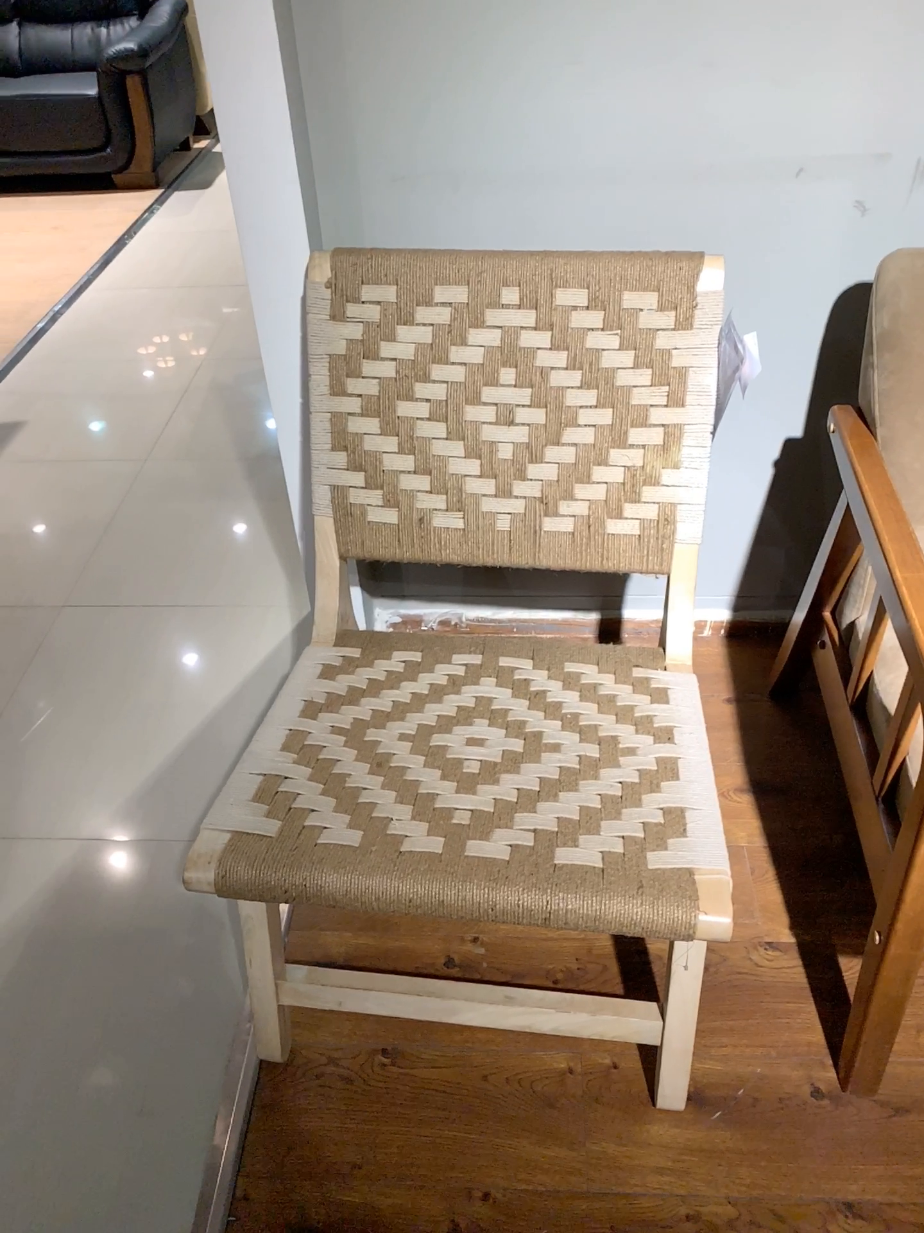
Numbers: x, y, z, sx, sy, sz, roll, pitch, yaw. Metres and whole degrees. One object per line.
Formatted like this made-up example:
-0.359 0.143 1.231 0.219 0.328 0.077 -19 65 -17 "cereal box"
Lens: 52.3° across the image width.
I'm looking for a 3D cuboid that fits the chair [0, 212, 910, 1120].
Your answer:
0.029 0.051 1.153 0.630 0.846 0.663 3 40 7 "chair"
